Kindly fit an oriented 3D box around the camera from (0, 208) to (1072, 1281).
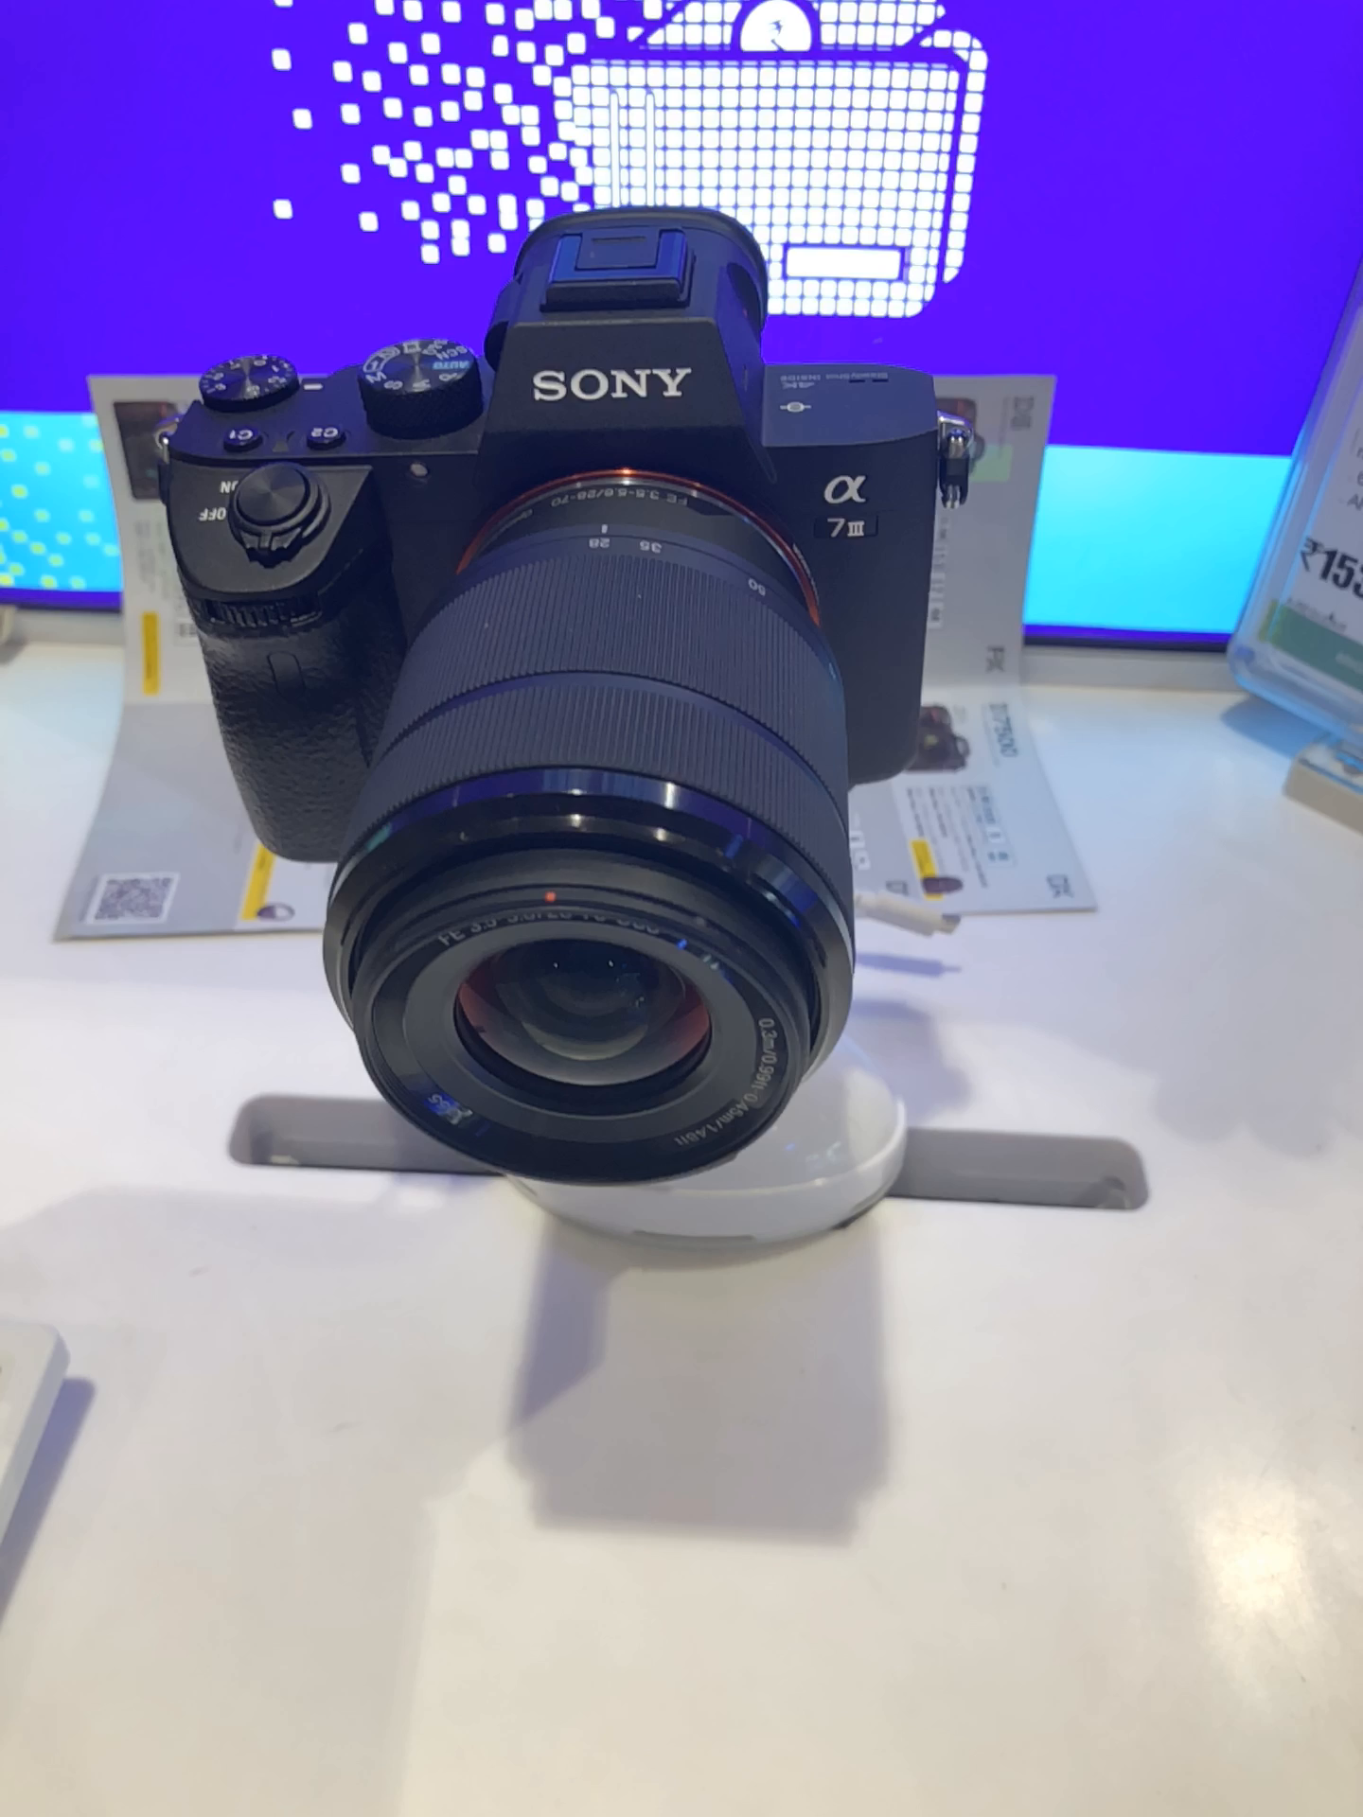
[{"bbox_3d":[-0.025,-0.031,0.237,0.120,0.109,0.128,-2,42,-4],"label":"camera"}]
